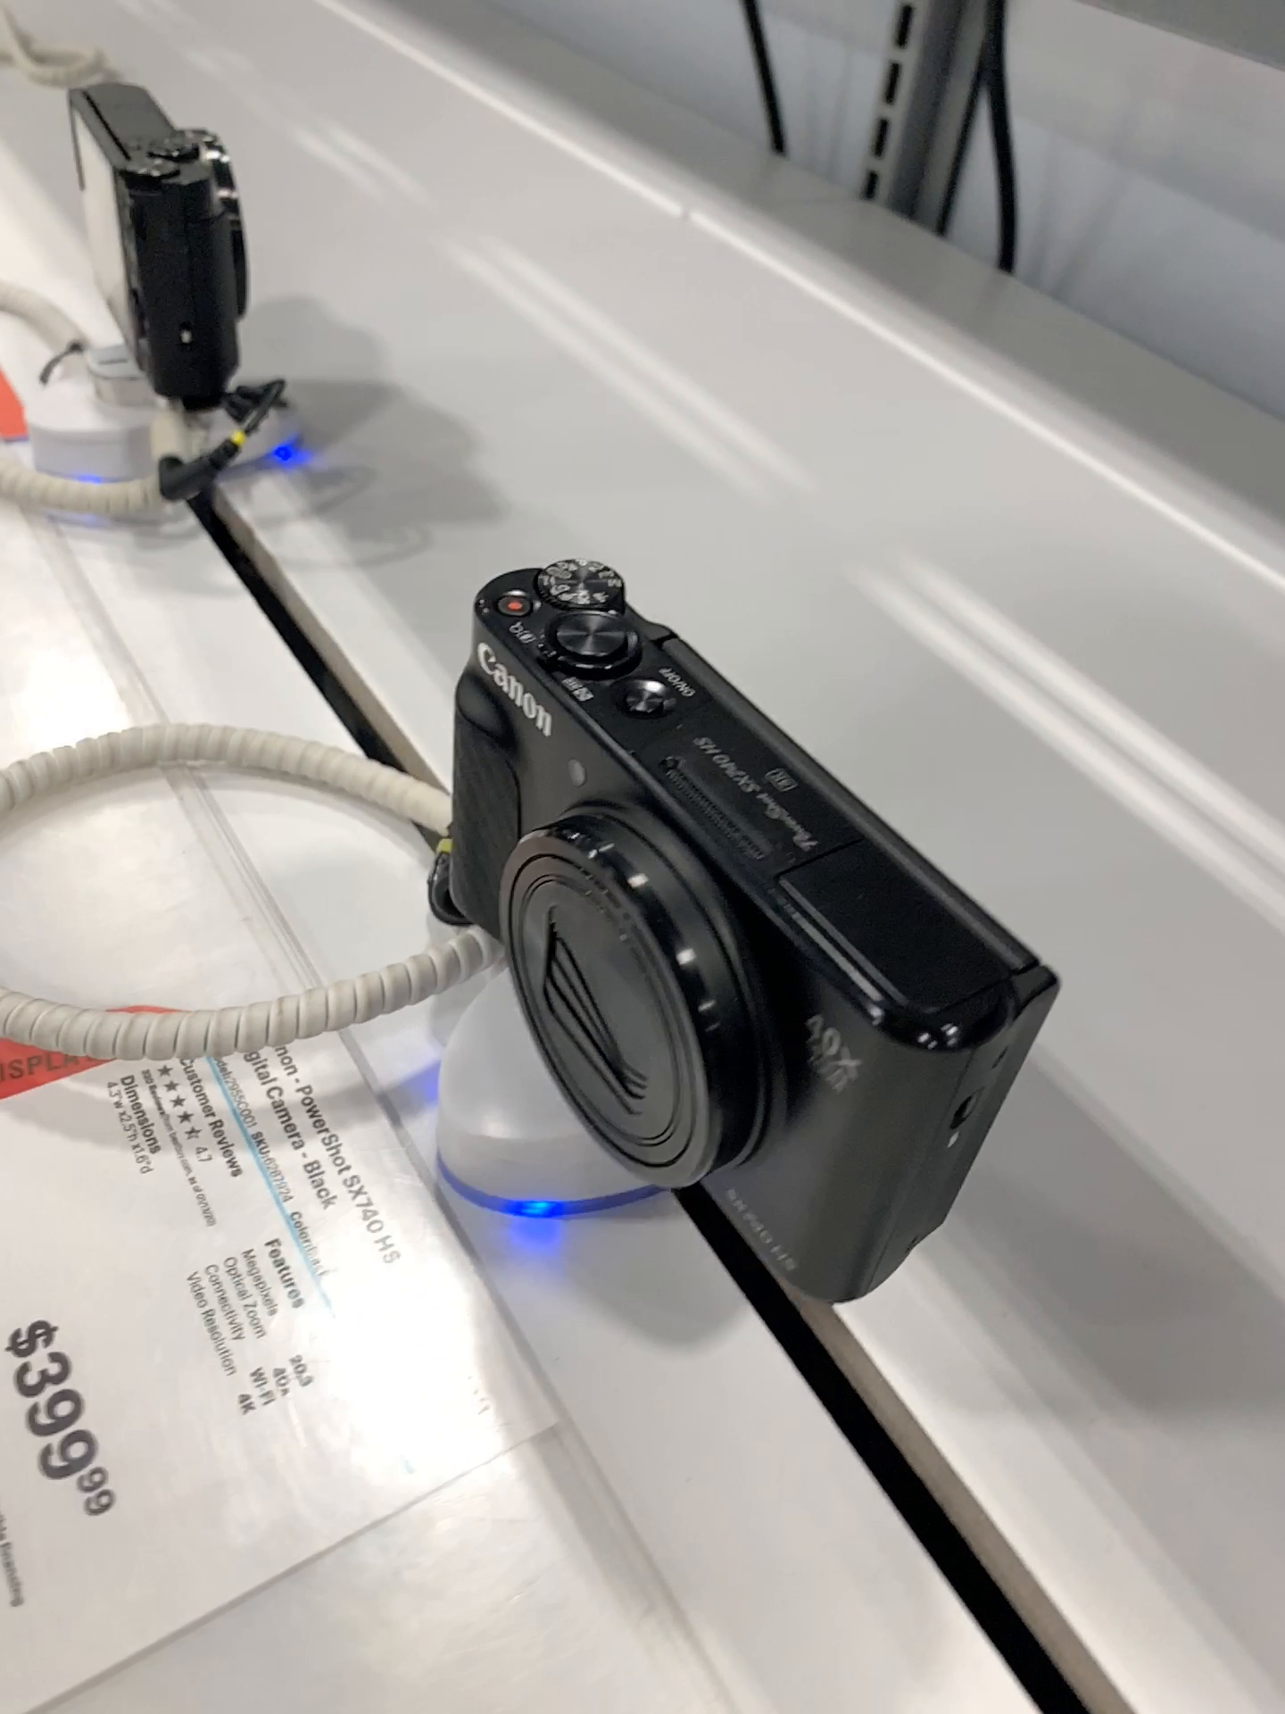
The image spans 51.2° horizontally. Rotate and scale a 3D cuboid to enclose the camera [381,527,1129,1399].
[{"bbox_3d":[0.005,0.009,0.210,0.041,0.064,0.120,-21,51,-29],"label":"camera"}]
